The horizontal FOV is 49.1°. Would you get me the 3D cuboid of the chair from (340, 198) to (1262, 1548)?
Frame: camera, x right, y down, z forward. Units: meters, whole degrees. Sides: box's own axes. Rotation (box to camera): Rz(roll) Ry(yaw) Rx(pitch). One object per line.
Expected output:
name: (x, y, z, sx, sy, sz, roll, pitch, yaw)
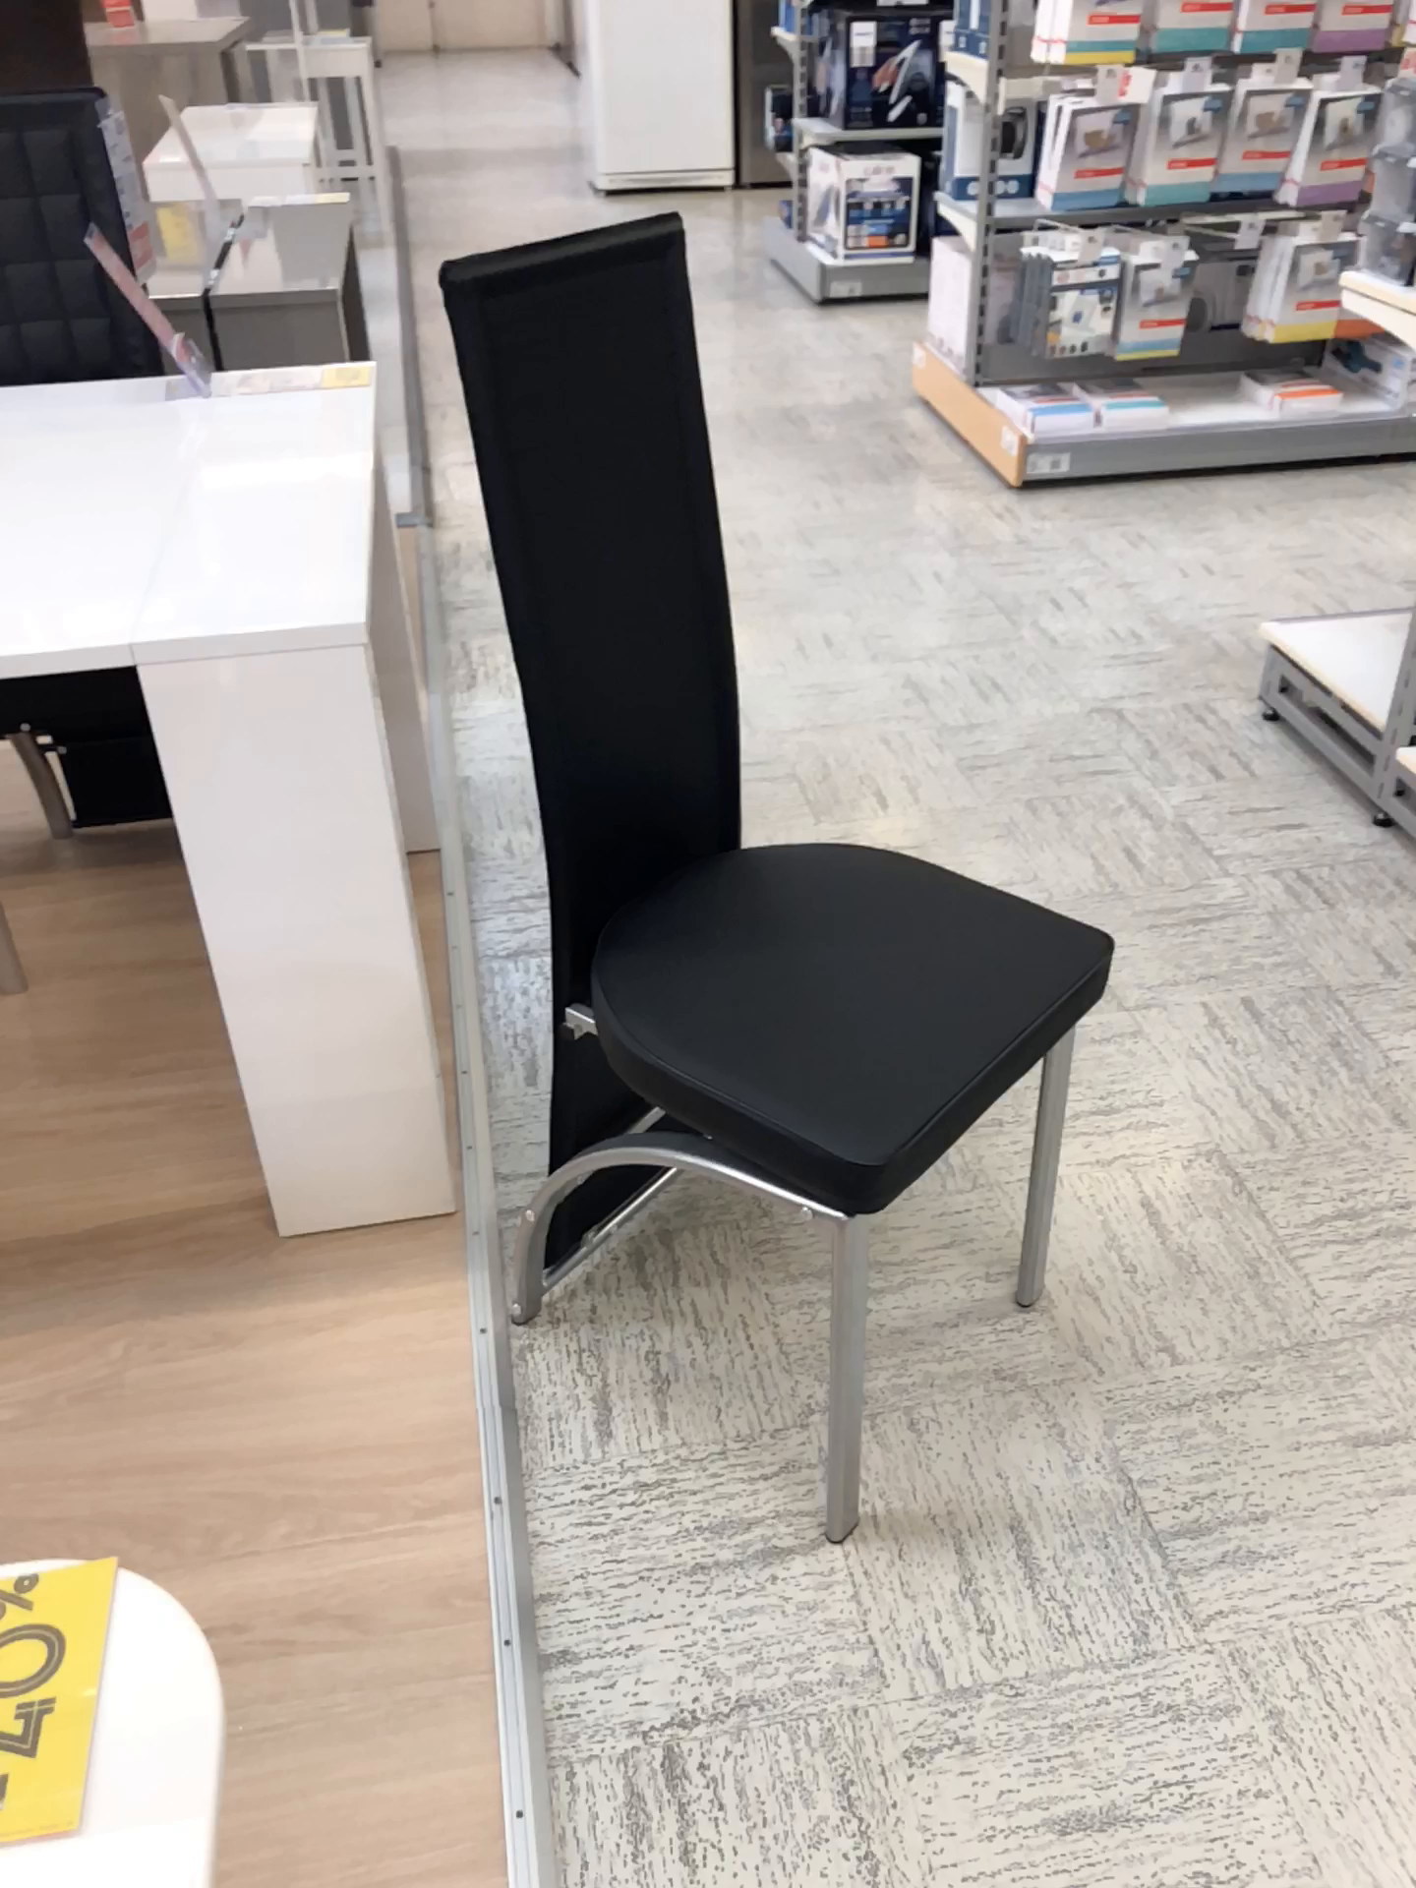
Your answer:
chair: (0.083, -0.061, 1.391, 0.490, 1.014, 0.453, 23, 41, 32)
